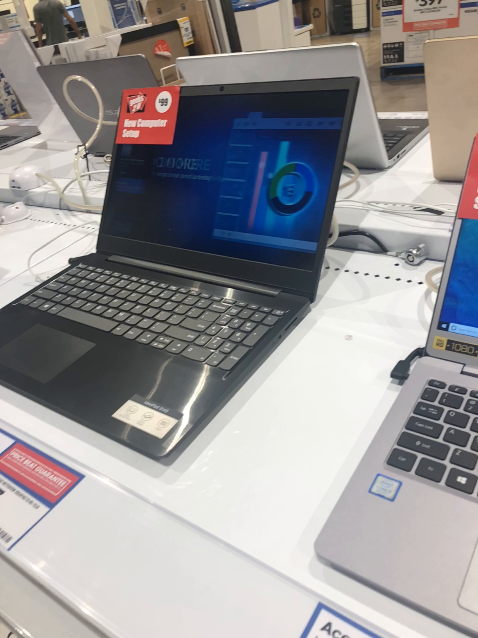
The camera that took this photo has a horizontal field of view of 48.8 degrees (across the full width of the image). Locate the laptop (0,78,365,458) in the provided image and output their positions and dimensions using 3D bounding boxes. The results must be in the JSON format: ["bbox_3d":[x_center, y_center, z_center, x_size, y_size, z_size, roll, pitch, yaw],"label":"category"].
[{"bbox_3d":[-0.110,-0.106,0.576,0.353,0.192,0.374,14,41,33],"label":"laptop"}]
